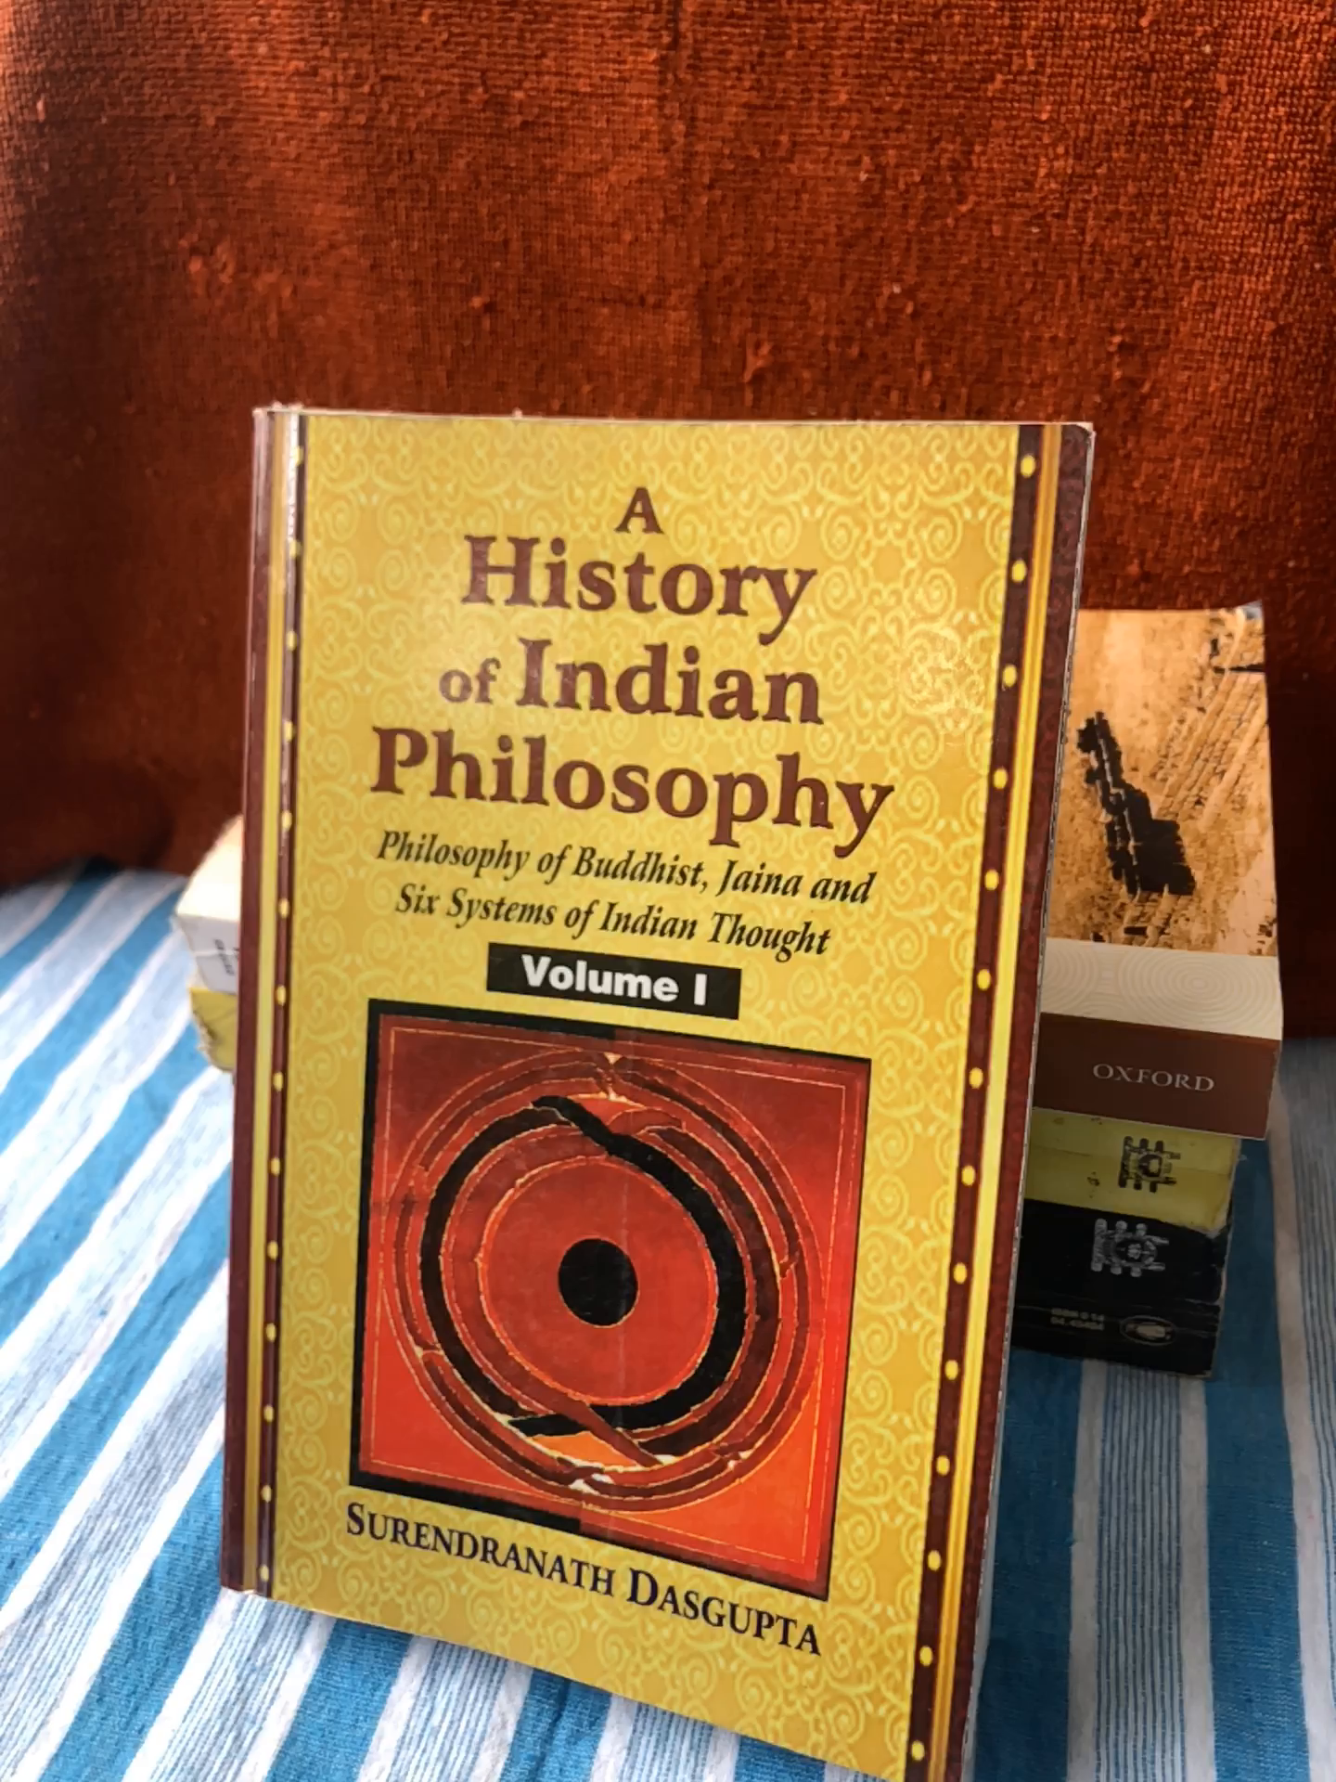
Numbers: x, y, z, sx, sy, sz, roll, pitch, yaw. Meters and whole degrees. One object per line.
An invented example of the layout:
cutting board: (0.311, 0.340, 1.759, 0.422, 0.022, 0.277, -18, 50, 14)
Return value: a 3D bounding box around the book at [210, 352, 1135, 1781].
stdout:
book: (-0.003, 0.025, 0.261, 0.141, 0.216, 0.048, 6, 6, 20)
